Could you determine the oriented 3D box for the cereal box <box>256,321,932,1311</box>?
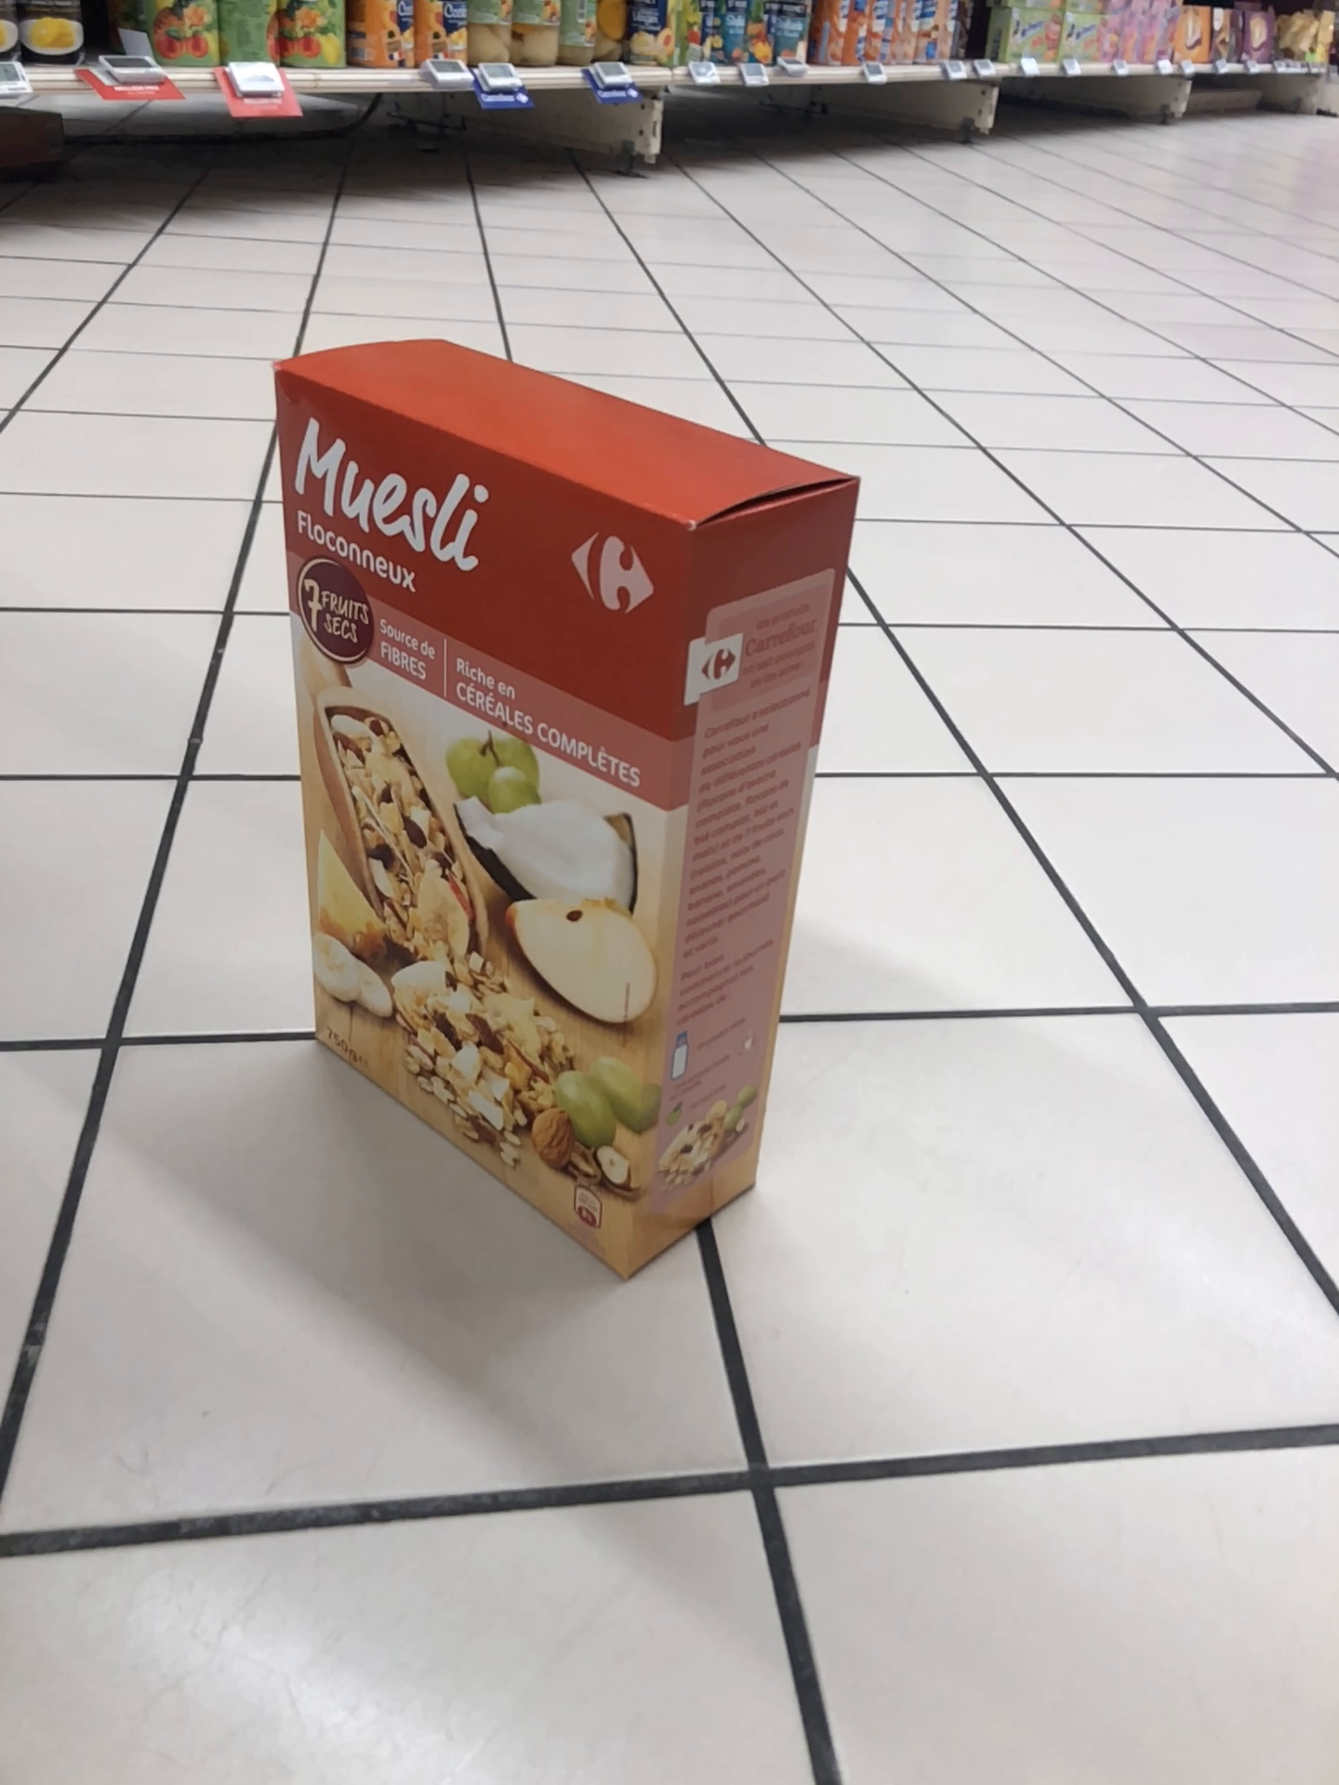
[{"bbox_3d":[-0.034,-0.026,0.444,0.170,0.239,0.080,30,39,34],"label":"cereal box"}]
